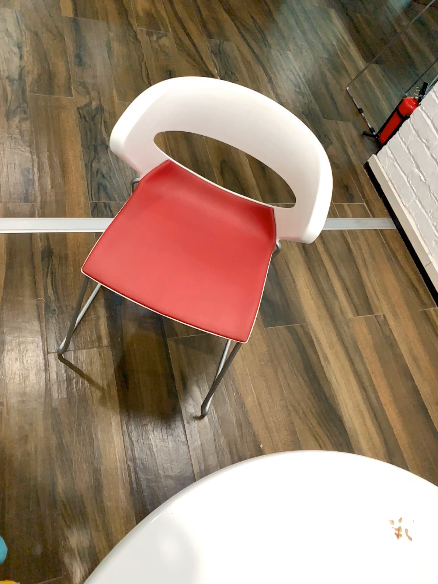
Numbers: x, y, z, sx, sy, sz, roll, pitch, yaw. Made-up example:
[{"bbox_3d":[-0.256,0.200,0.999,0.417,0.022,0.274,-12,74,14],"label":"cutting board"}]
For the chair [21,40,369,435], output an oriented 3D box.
[{"bbox_3d":[-0.074,-0.105,1.240,0.590,0.676,0.644,26,54,-4],"label":"chair"}]
